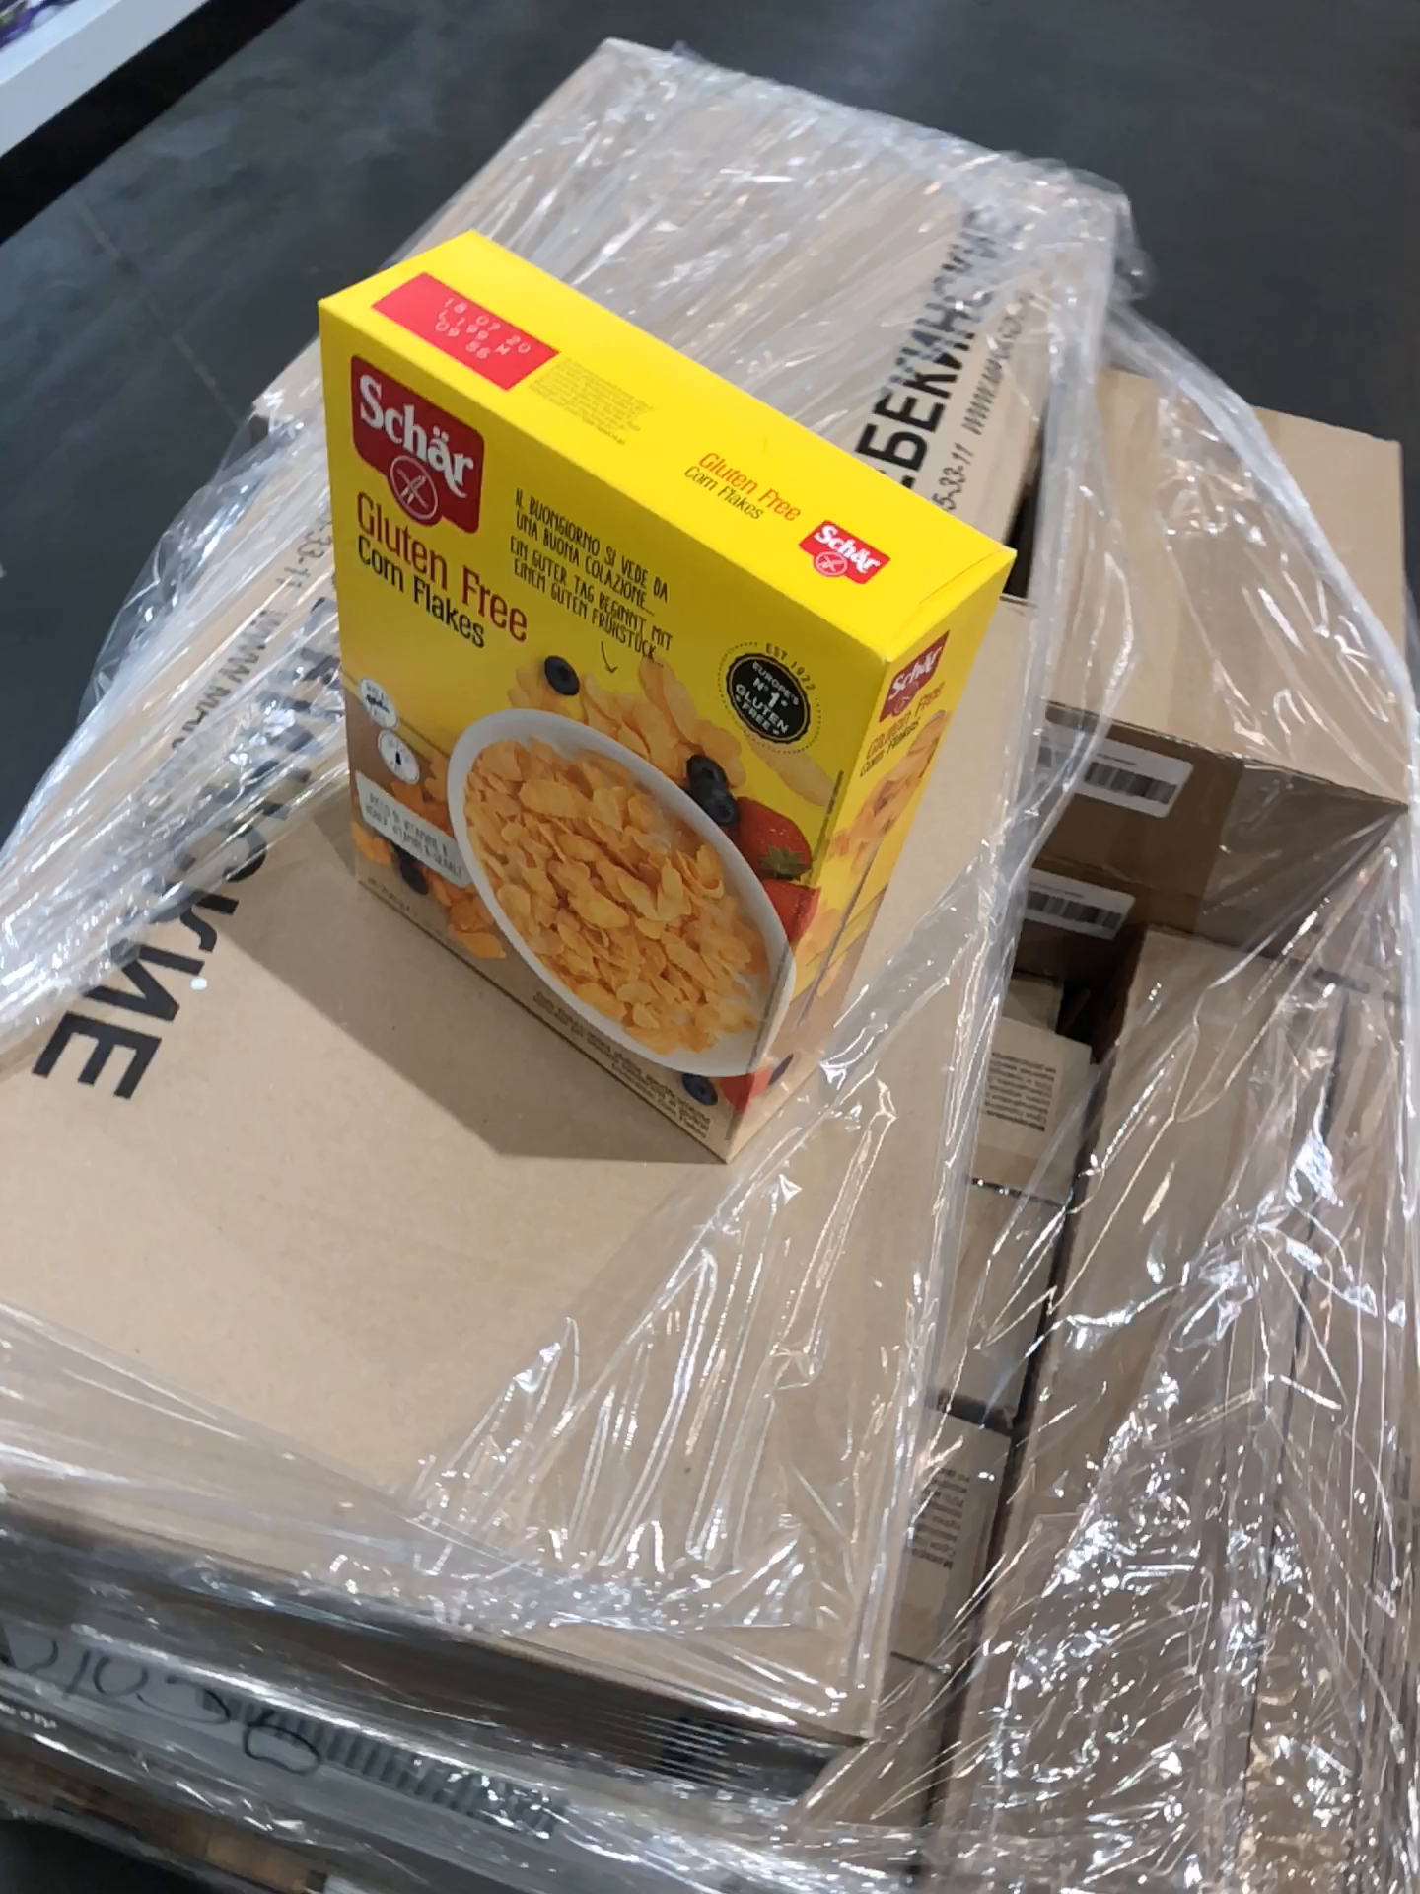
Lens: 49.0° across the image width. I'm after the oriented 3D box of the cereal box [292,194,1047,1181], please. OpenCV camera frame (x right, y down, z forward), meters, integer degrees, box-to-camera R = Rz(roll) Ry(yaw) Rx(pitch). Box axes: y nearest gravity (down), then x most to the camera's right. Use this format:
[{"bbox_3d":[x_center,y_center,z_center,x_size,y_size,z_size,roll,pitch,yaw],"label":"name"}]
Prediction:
[{"bbox_3d":[-0.032,-0.065,0.494,0.200,0.249,0.060,36,56,16],"label":"cereal box"}]
